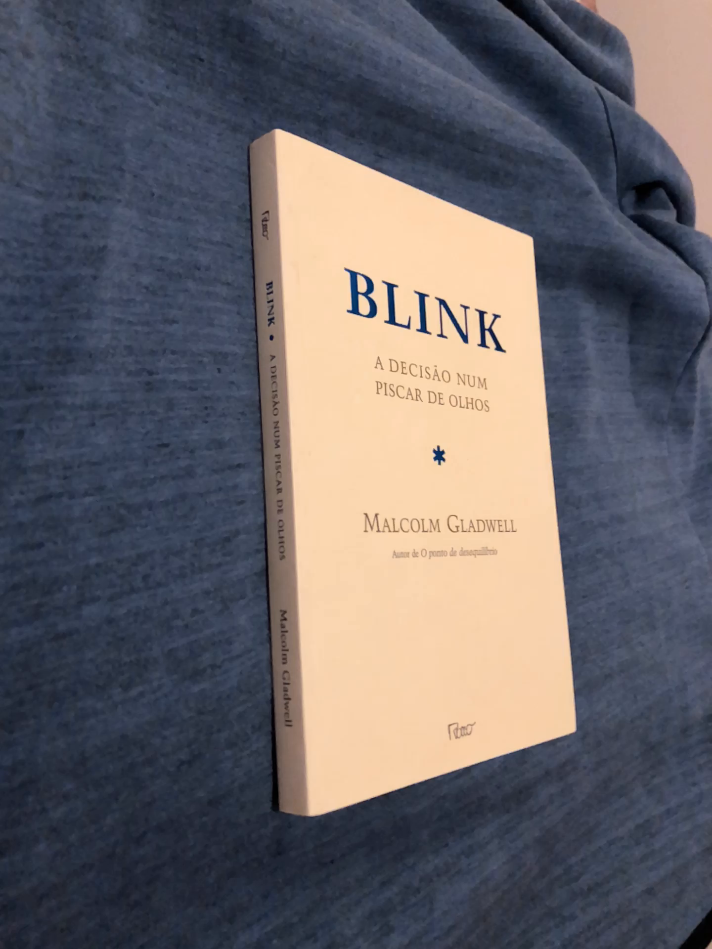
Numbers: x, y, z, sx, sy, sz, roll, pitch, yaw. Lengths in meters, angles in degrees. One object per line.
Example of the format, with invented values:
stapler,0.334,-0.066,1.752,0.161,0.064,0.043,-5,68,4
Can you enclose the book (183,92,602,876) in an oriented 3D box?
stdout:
book,0.019,-0.001,0.280,0.151,0.030,0.220,4,75,-45
